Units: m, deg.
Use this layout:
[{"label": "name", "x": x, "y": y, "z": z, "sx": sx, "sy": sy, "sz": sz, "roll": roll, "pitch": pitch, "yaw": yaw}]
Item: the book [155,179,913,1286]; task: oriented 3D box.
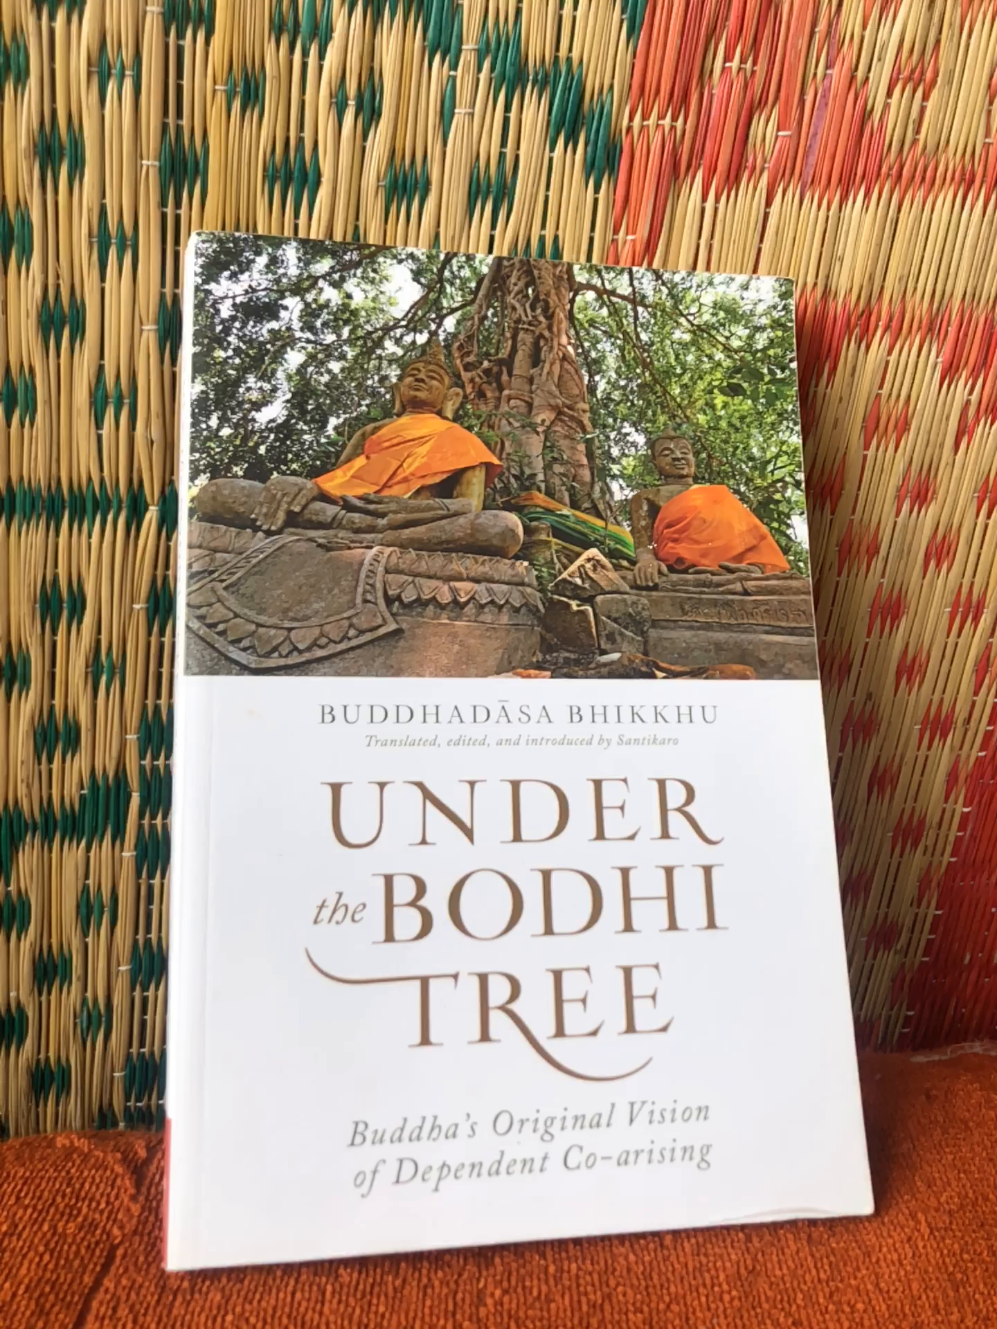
[{"label": "book", "x": 0.007, "y": 0.007, "z": 0.260, "sx": 0.160, "sy": 0.230, "sz": 0.030, "roll": 0, "pitch": -9, "yaw": -11}]
